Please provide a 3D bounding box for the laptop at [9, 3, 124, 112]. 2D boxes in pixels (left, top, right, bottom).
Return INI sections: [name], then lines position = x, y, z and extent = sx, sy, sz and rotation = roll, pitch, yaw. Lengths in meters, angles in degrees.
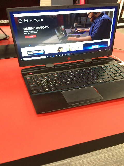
[laptop]
position = 0.072, -0.103, 0.531
extent = 0.394, 0.221, 0.277
rotation = -11, 43, -13
